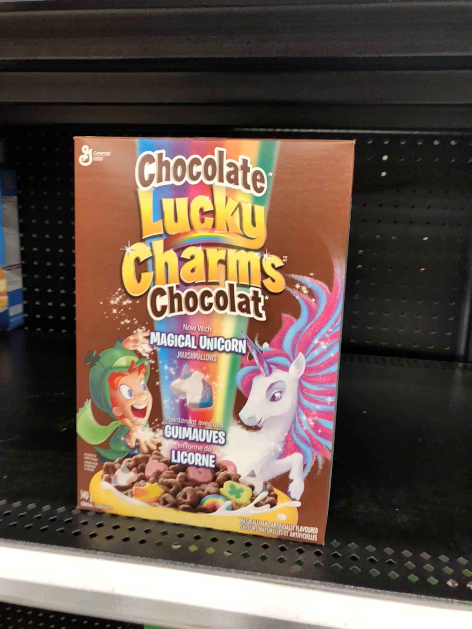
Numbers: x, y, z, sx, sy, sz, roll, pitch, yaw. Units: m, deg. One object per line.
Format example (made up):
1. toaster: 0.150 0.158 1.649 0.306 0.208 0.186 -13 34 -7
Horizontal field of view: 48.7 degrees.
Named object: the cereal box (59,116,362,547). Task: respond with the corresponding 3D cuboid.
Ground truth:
1. cereal box: -0.022 0.010 0.384 0.200 0.289 0.050 4 11 11
